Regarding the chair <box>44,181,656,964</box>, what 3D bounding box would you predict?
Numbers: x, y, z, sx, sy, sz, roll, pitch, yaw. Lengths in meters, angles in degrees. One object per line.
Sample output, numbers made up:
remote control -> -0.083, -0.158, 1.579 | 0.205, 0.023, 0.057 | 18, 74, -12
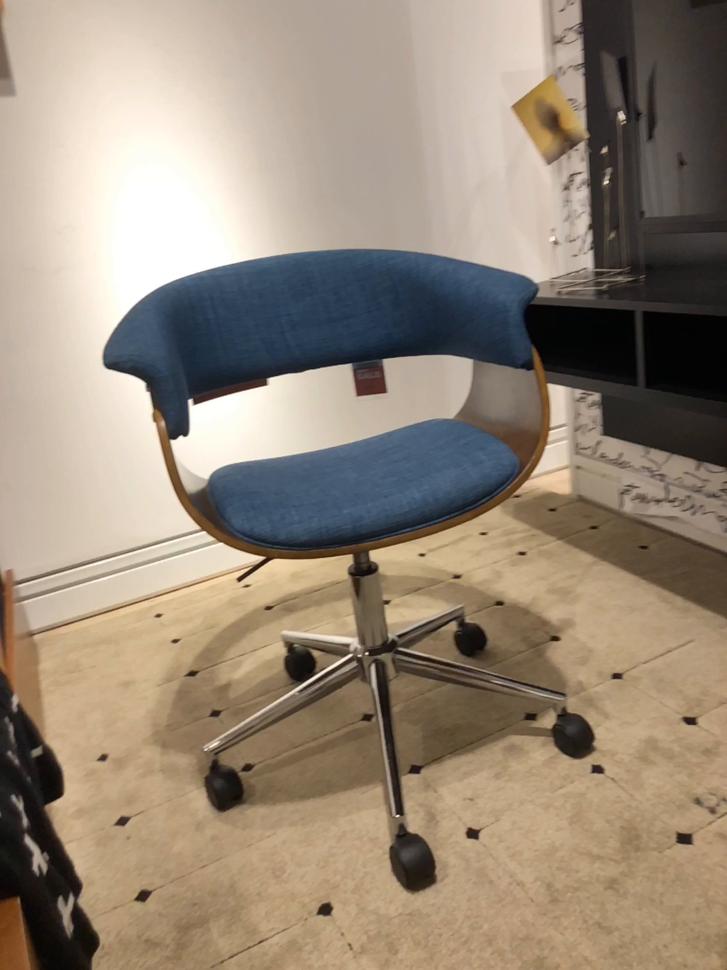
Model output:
chair -> -0.052, 0.022, 1.190 | 0.611, 0.775, 0.673 | -15, 19, -19
